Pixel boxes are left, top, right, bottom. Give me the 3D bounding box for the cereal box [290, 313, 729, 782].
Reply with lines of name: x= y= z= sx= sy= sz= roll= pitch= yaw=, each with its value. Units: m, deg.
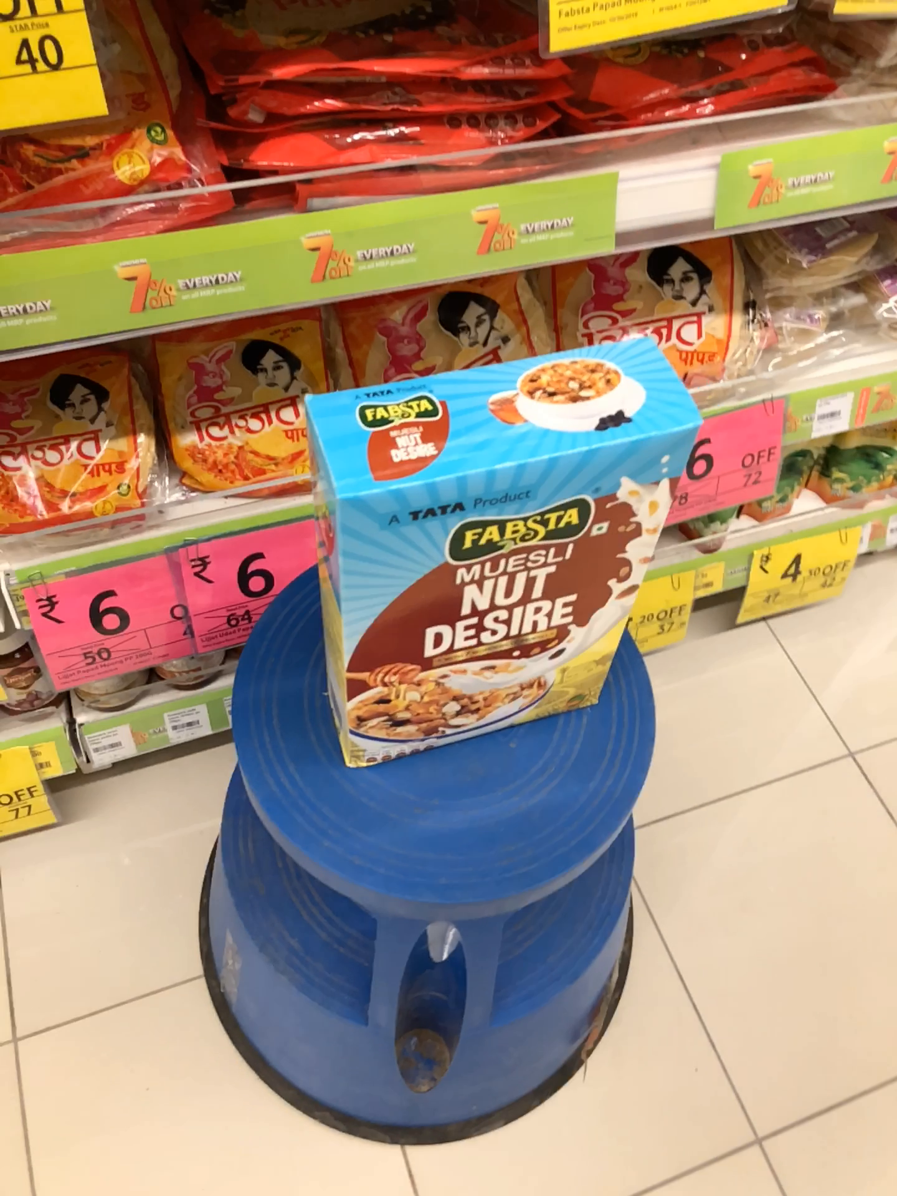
cereal box: x=0.018 y=-0.011 z=0.512 sx=0.170 sy=0.249 sz=0.070 roll=-14 pitch=57 yaw=-14
